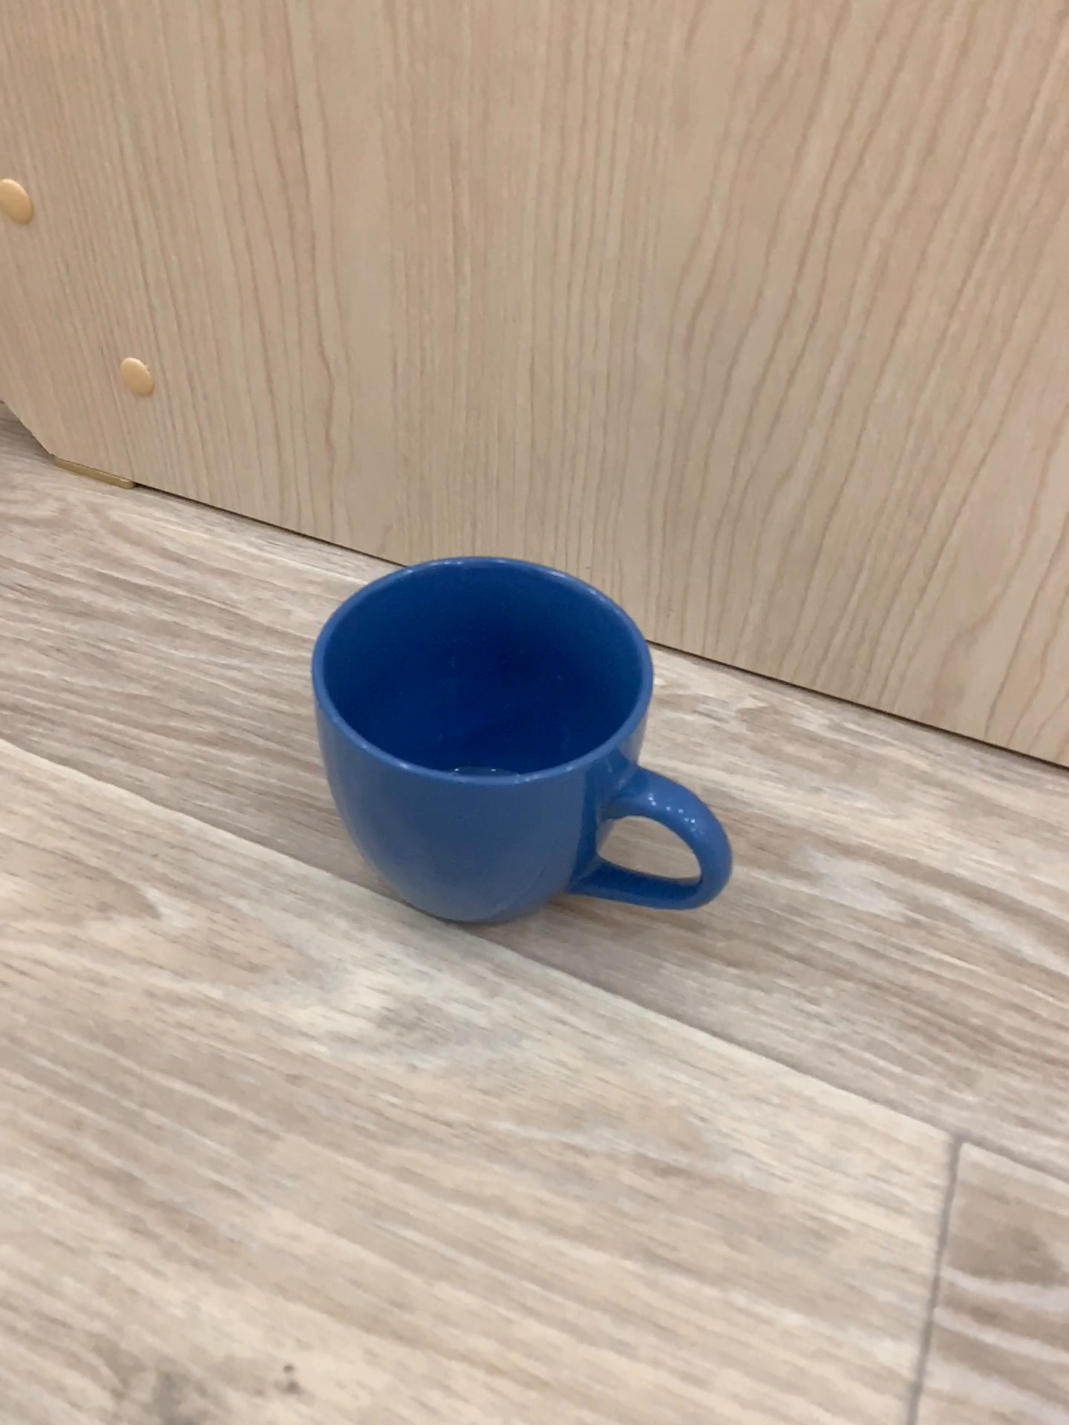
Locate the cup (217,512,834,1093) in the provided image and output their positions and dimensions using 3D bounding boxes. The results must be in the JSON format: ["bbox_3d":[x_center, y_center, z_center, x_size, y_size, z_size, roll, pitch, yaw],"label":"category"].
[{"bbox_3d":[-0.002,0.017,0.274,0.118,0.074,0.078,23,46,19],"label":"cup"}]
